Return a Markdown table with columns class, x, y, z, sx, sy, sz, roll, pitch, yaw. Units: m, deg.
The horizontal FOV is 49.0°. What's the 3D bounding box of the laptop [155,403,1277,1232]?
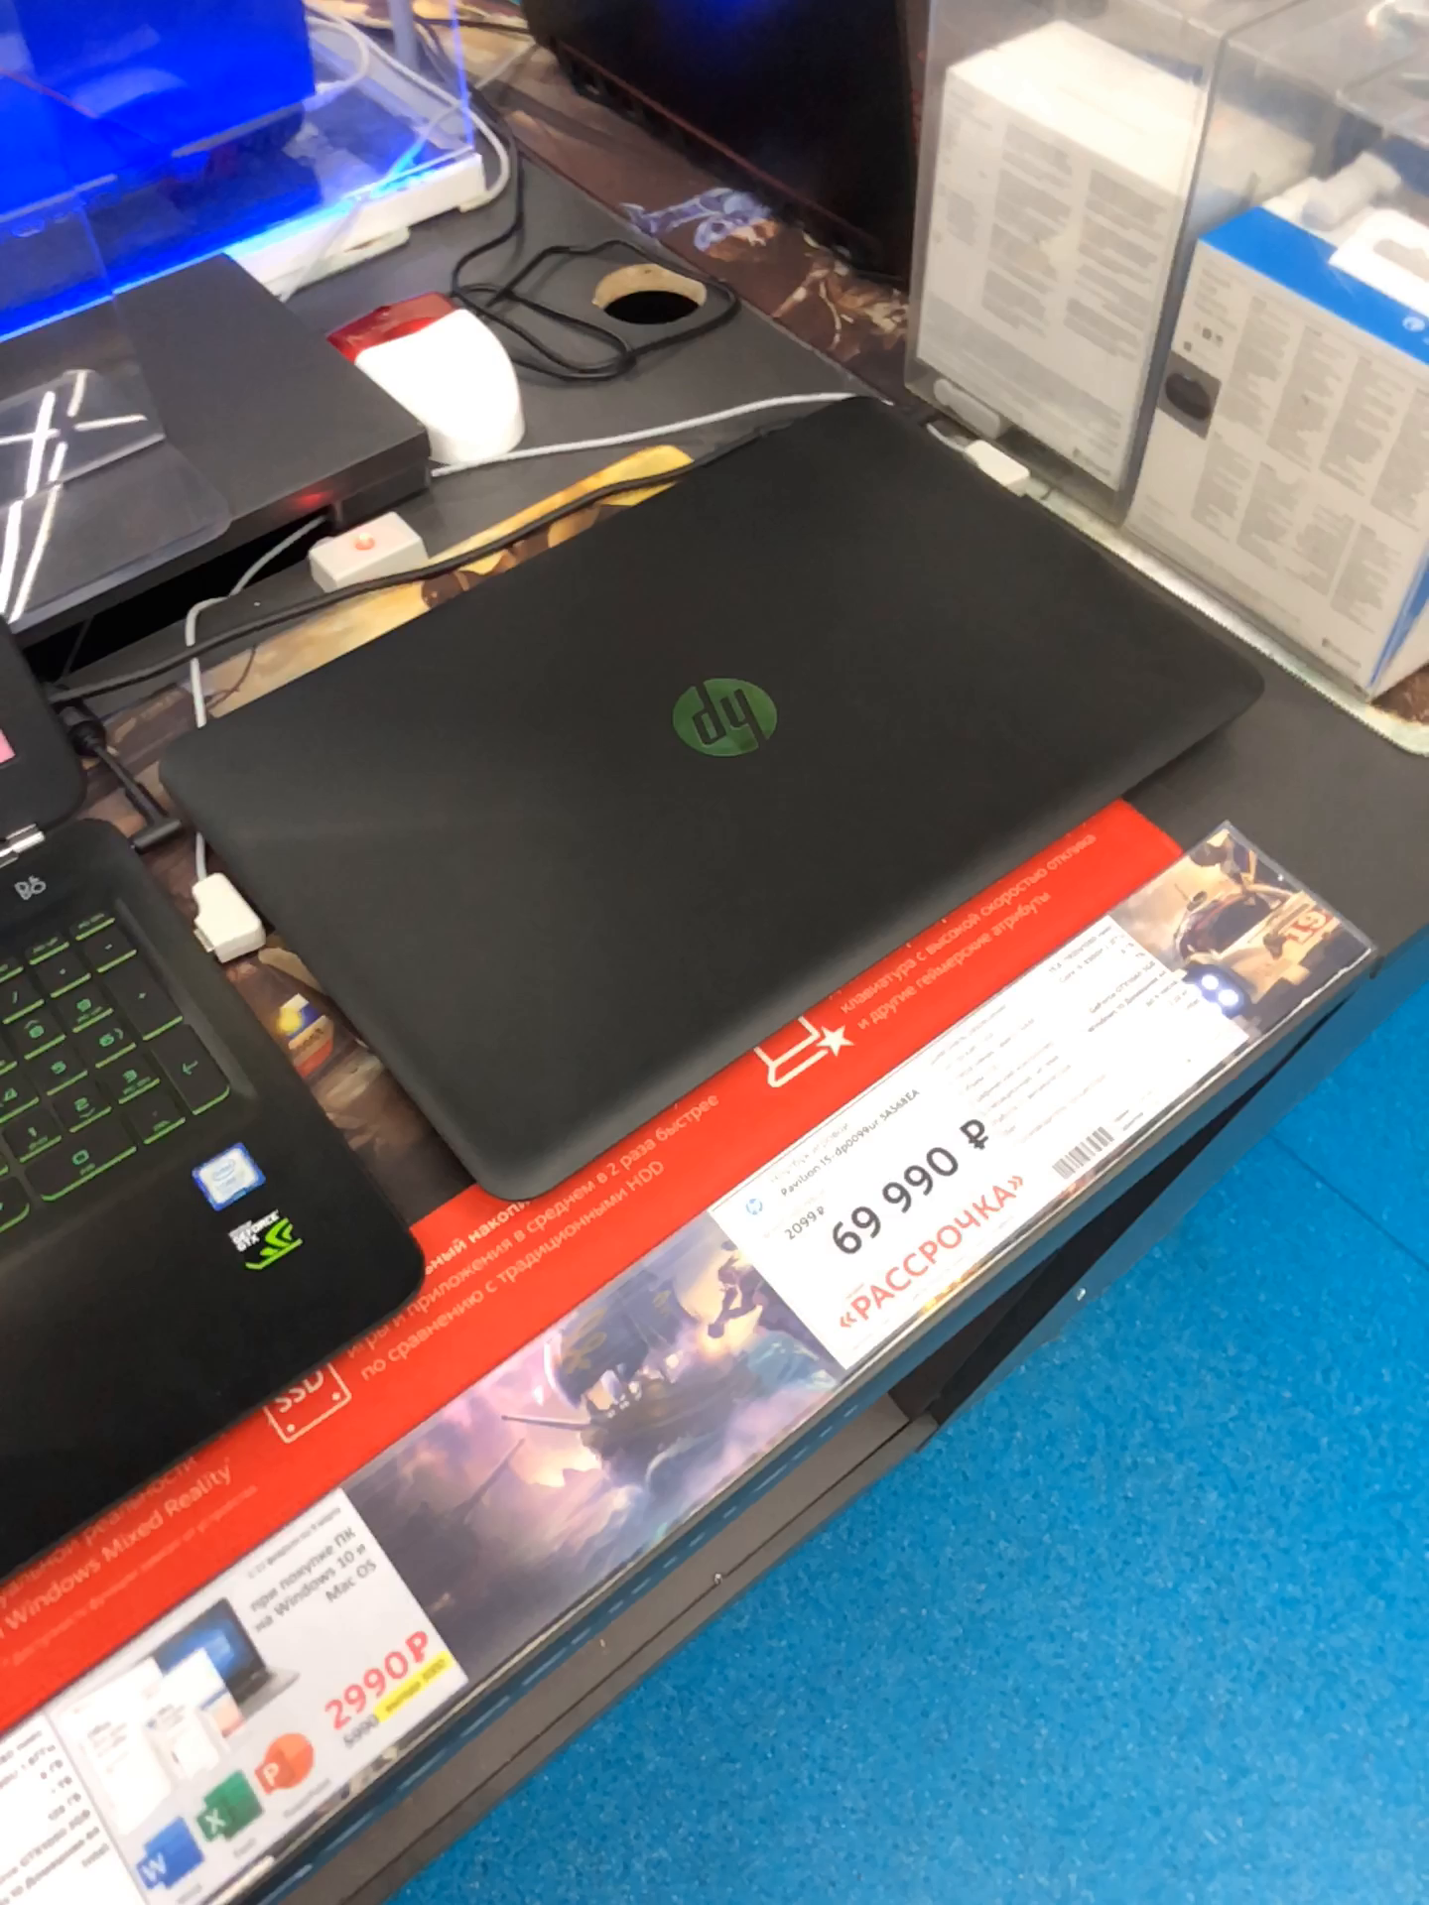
| class | x | y | z | sx | sy | sz | roll | pitch | yaw |
| --- | --- | --- | --- | --- | --- | --- | --- | --- | --- |
| laptop | 0.005 | -0.084 | 0.619 | 0.372 | 0.006 | 0.240 | -33 | 61 | -21 |
